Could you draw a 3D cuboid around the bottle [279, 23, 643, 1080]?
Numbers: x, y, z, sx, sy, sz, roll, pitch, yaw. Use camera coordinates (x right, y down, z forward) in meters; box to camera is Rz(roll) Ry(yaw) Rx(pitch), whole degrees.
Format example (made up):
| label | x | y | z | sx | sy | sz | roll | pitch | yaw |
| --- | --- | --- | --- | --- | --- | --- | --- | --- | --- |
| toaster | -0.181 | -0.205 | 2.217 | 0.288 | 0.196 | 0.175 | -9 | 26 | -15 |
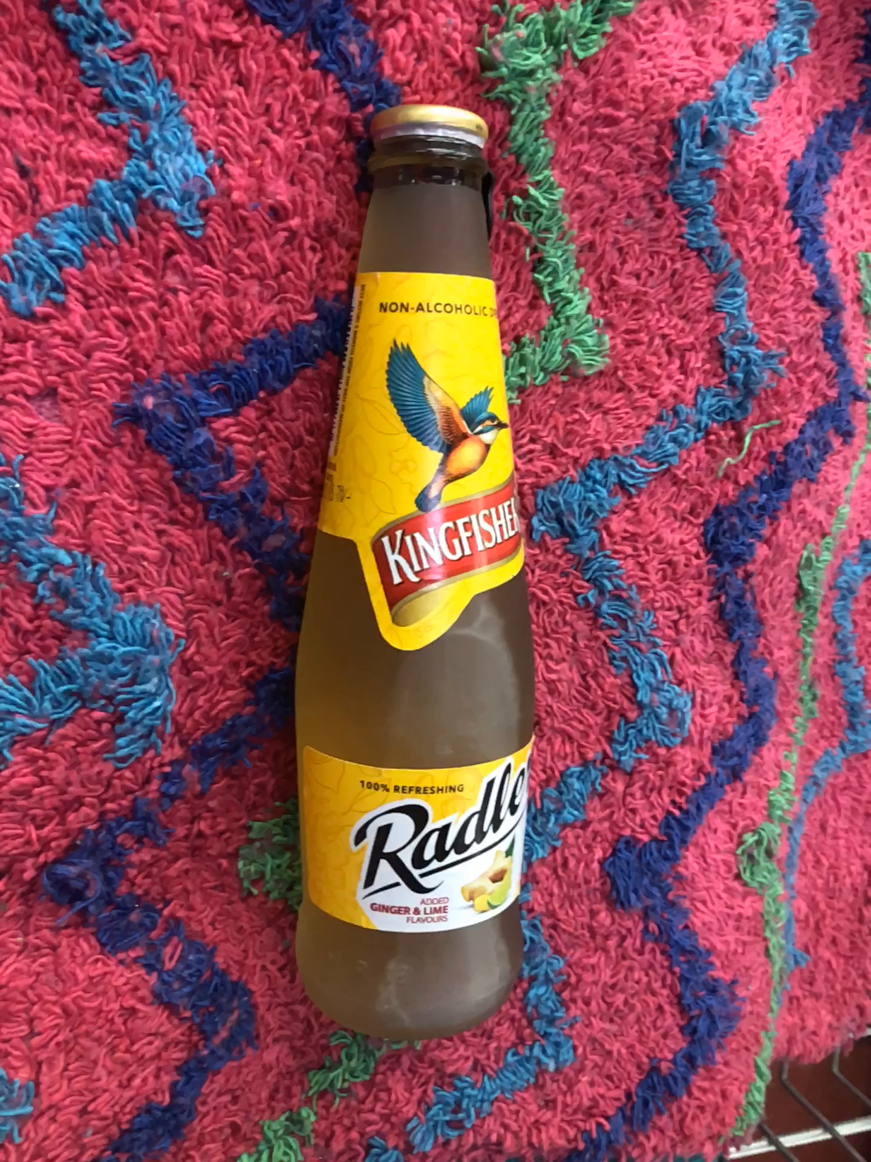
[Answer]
| label | x | y | z | sx | sy | sz | roll | pitch | yaw |
| --- | --- | --- | --- | --- | --- | --- | --- | --- | --- |
| bottle | 0.002 | -0.003 | 0.229 | 0.060 | 0.060 | 0.210 | -4 | 101 | -22 |
